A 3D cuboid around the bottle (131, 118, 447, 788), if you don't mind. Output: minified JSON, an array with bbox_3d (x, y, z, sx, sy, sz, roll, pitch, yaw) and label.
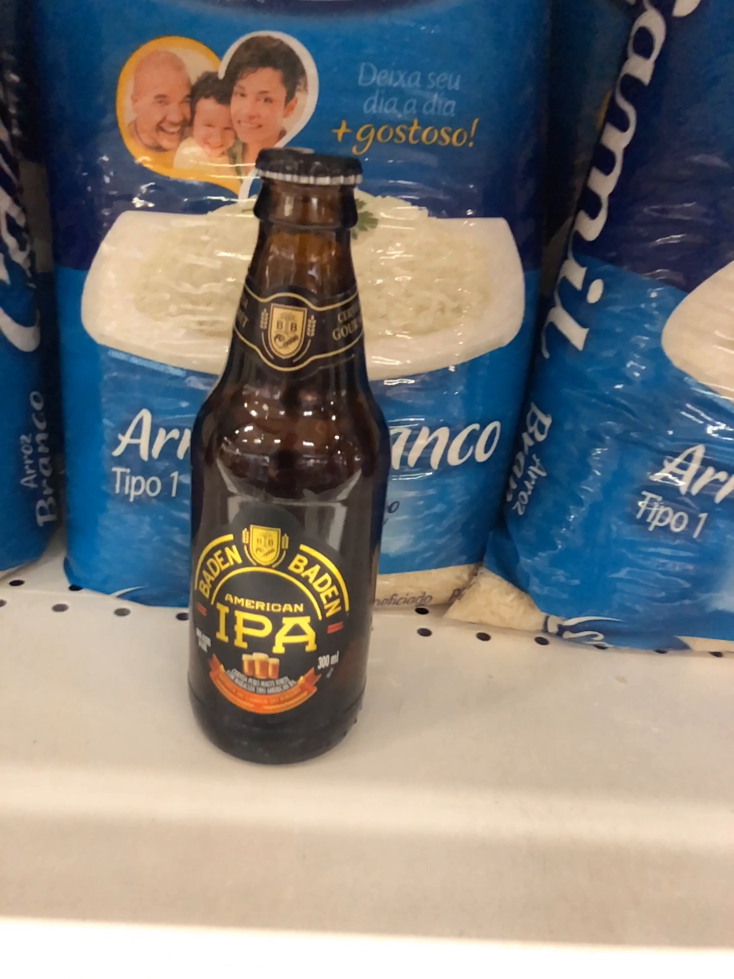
[{"bbox_3d":[-0.025,-0.007,0.251,0.070,0.189,0.060,8,26,4],"label":"bottle"}]
